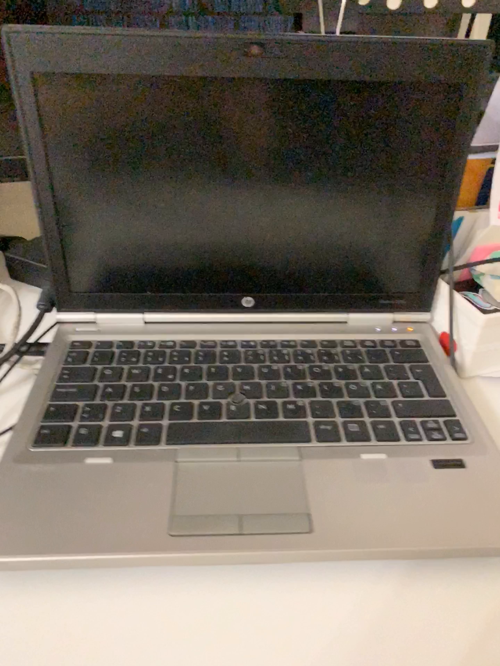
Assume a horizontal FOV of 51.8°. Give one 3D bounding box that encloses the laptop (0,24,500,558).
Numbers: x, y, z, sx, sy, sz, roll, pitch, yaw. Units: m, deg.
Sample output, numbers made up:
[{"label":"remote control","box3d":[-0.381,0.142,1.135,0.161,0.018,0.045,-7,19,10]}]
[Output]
[{"label":"laptop","box3d":[0.004,-0.041,0.297,0.303,0.204,0.225,0,36,-3]}]
